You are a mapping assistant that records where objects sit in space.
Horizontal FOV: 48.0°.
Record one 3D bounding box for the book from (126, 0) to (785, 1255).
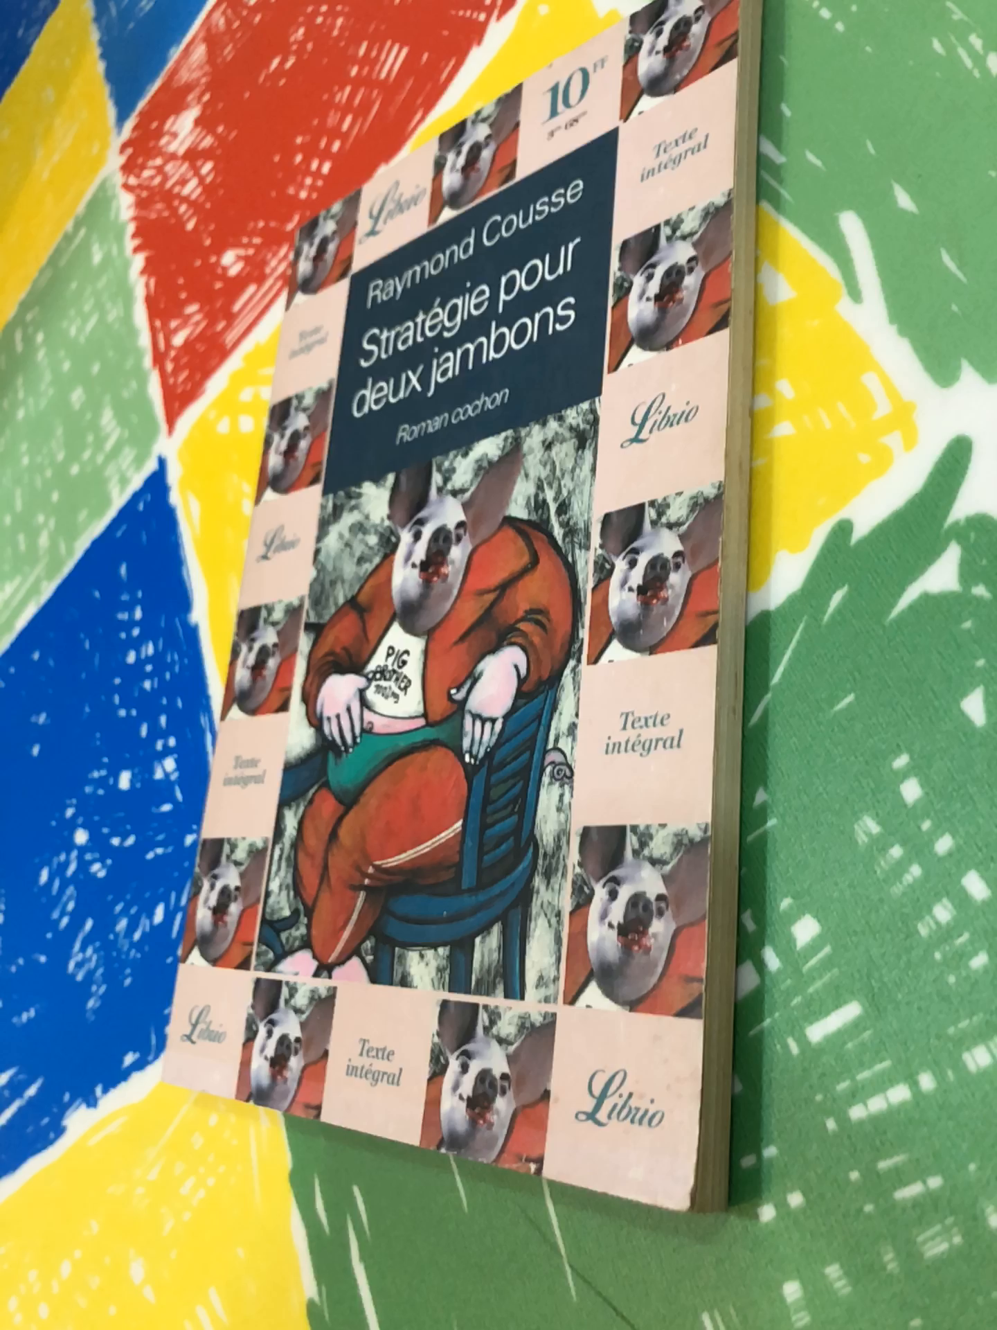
[{"bbox_3d":[-0.012,-0.018,0.203,0.131,0.013,0.197,-10,69,43],"label":"book"}]
